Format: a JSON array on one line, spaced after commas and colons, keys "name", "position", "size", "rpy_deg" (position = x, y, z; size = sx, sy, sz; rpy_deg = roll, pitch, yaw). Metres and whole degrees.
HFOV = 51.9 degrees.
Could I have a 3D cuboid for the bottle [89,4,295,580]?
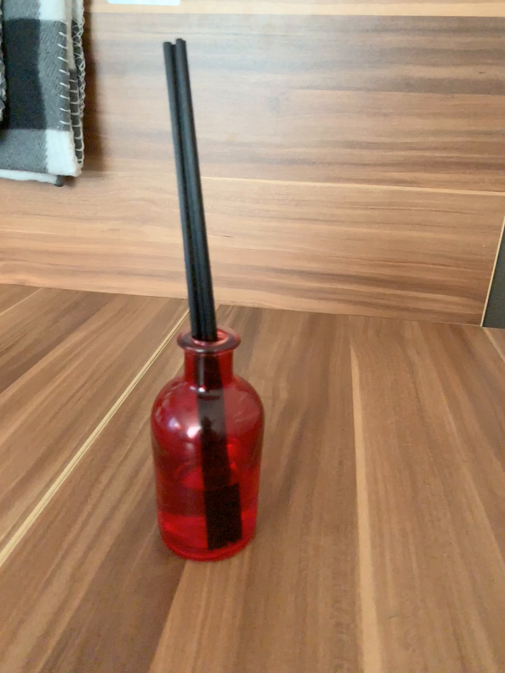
[{"name": "bottle", "position": [-0.022, -0.005, 0.233], "size": [0.060, 0.239, 0.050], "rpy_deg": [7, 24, 12]}]
